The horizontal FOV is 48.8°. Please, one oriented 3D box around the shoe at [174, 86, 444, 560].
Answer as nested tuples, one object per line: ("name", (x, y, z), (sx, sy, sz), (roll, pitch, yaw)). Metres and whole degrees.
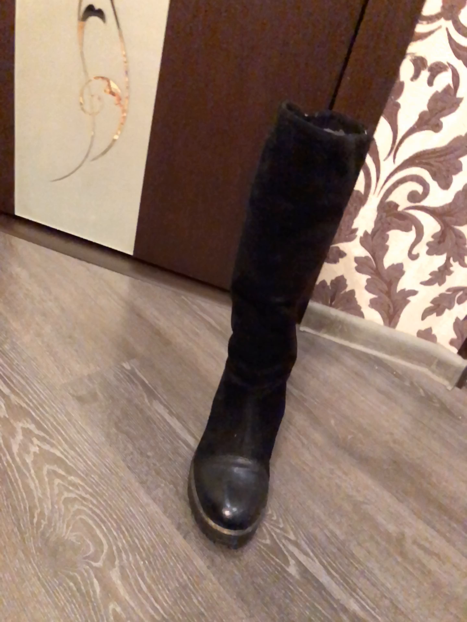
("shoe", (0.044, 0.016, 0.532), (0.100, 0.407, 0.252), (14, 32, -4))
